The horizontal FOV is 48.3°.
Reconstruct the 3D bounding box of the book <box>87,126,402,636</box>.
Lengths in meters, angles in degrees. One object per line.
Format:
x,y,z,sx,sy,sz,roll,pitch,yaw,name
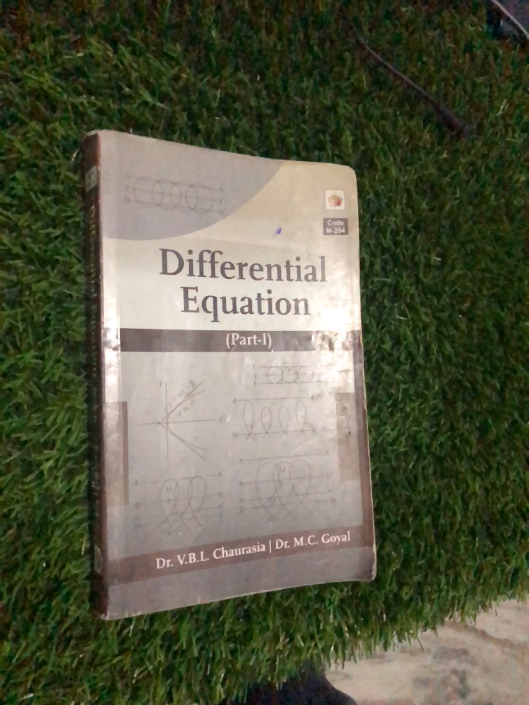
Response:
-0.007,0.009,0.277,0.140,0.030,0.200,0,84,-28,book
